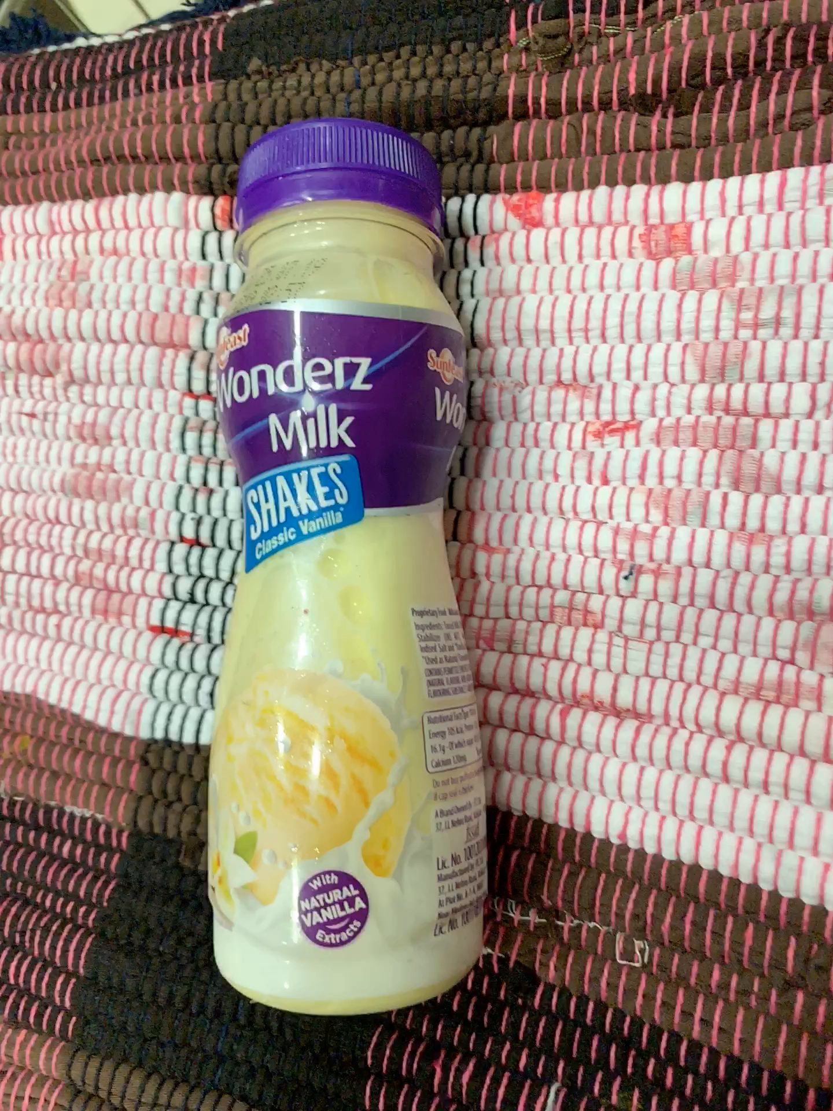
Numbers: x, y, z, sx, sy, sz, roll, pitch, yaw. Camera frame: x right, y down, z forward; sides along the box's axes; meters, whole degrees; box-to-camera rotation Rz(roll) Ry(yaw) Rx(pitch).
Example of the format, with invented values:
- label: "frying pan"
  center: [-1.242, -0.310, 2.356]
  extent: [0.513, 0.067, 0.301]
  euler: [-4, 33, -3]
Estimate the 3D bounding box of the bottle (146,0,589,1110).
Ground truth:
- label: "bottle"
  center: [-0.008, 0.000, 0.158]
  extent: [0.060, 0.050, 0.160]
  euler: [-3, 86, 27]
